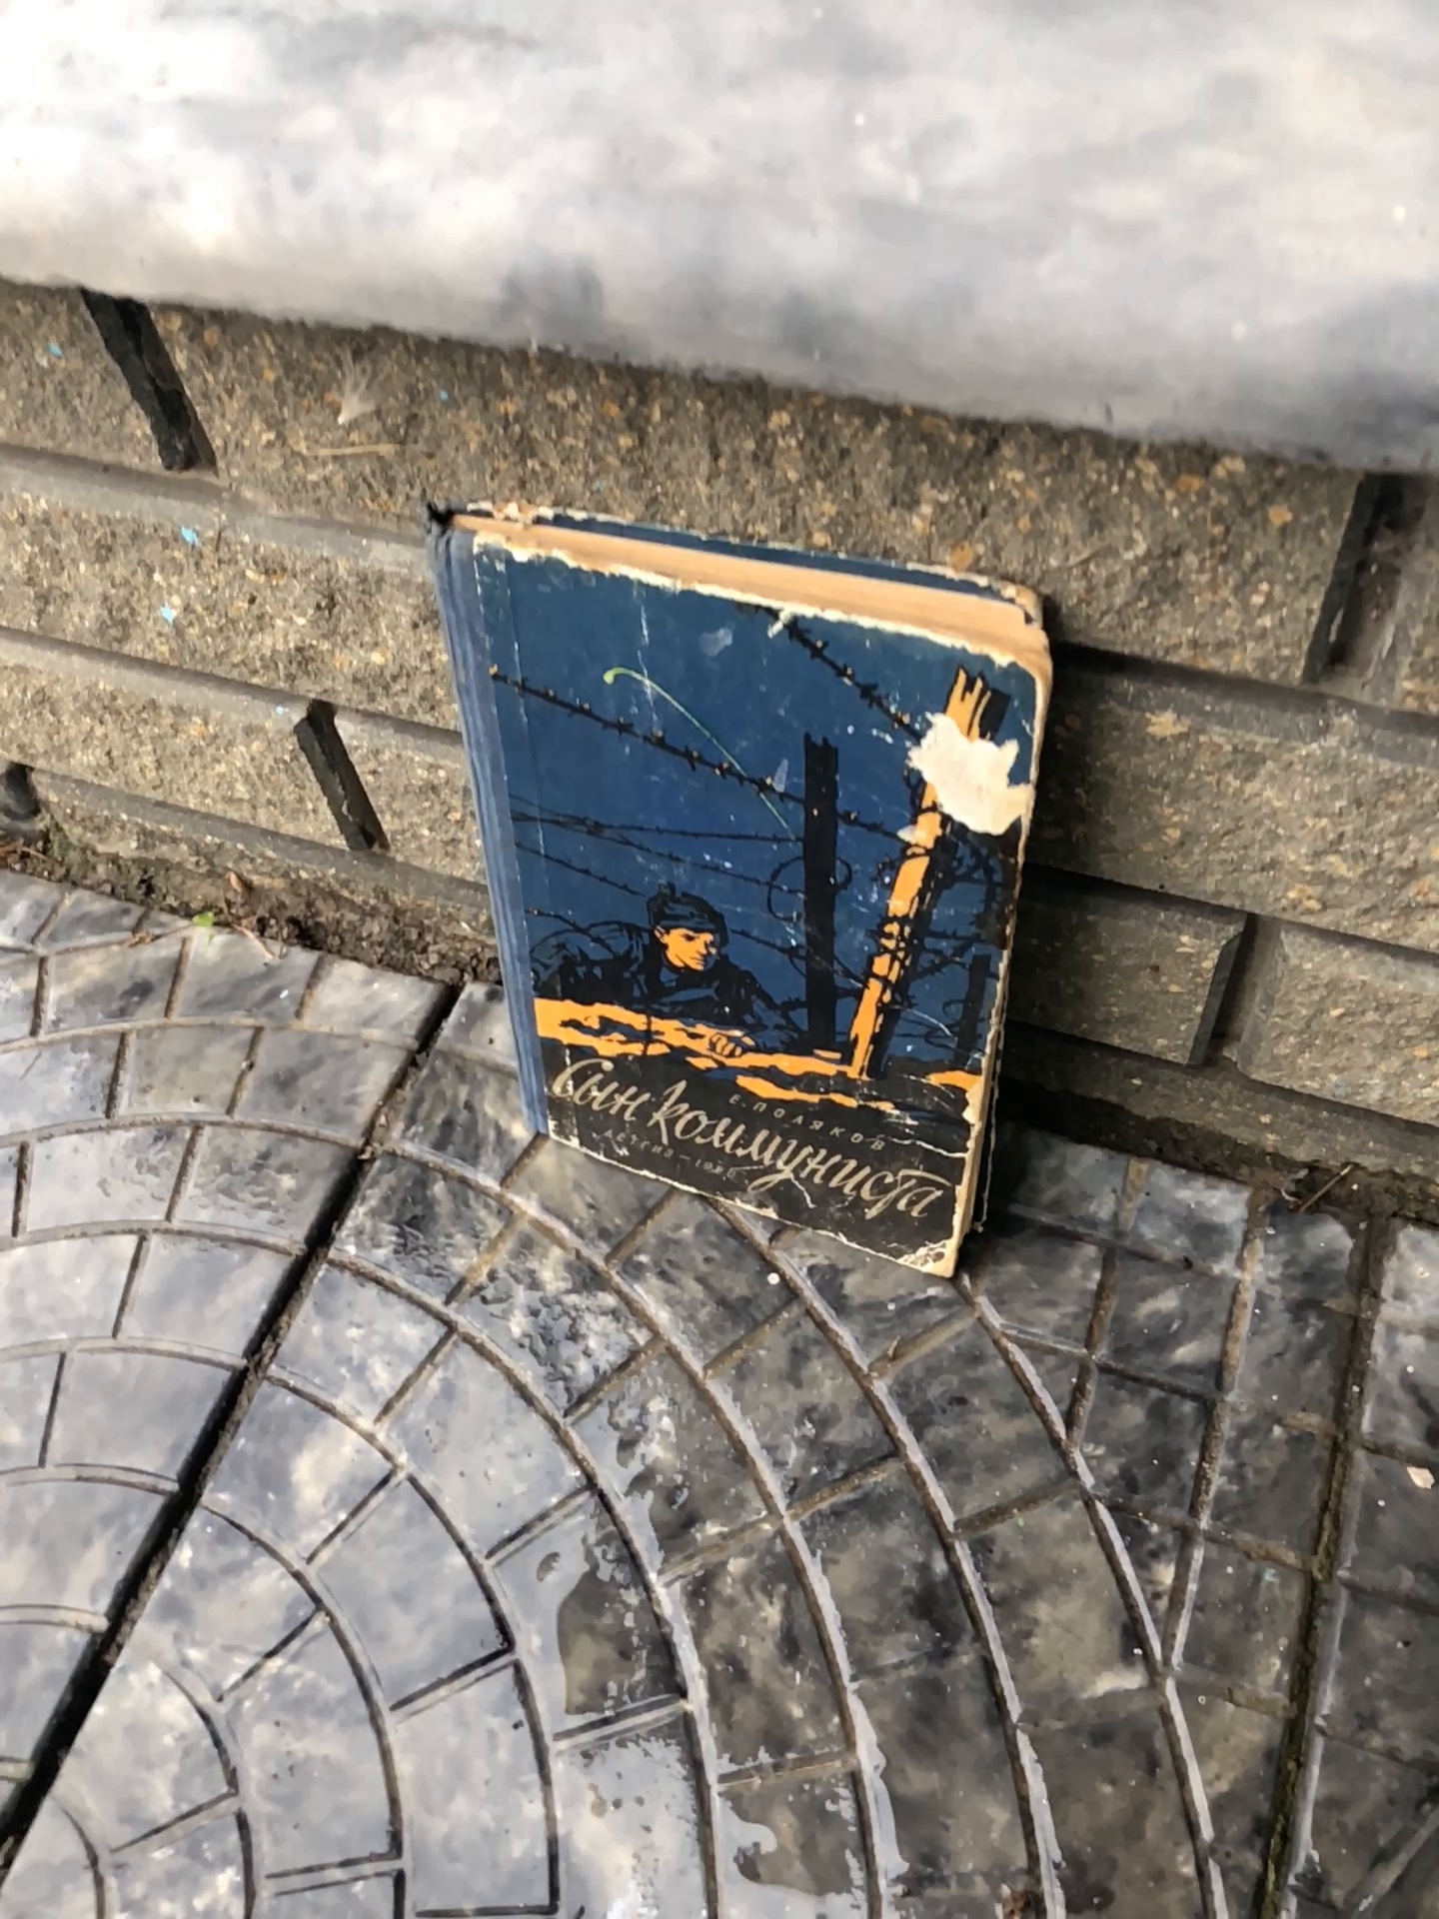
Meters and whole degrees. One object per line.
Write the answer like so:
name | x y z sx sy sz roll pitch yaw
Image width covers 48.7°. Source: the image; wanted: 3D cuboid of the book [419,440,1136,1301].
book | 0.011 -0.012 0.390 0.140 0.199 0.040 17 47 17
